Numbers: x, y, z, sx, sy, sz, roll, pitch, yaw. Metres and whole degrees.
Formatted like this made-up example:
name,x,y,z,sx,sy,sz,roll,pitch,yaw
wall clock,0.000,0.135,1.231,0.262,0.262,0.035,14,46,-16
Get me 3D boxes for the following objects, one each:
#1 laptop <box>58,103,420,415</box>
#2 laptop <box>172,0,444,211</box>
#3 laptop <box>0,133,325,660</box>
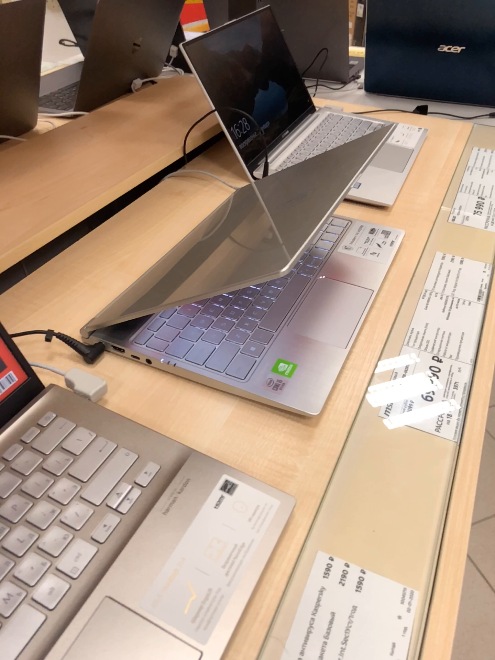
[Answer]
name,x,y,z,sx,sy,sz,roll,pitch,yaw
laptop,0.020,-0.101,0.531,0.216,0.113,0.322,17,41,17
laptop,0.106,-0.359,0.819,0.300,0.154,0.327,18,42,15
laptop,-0.173,0.076,0.234,0.314,0.169,0.311,18,41,17
